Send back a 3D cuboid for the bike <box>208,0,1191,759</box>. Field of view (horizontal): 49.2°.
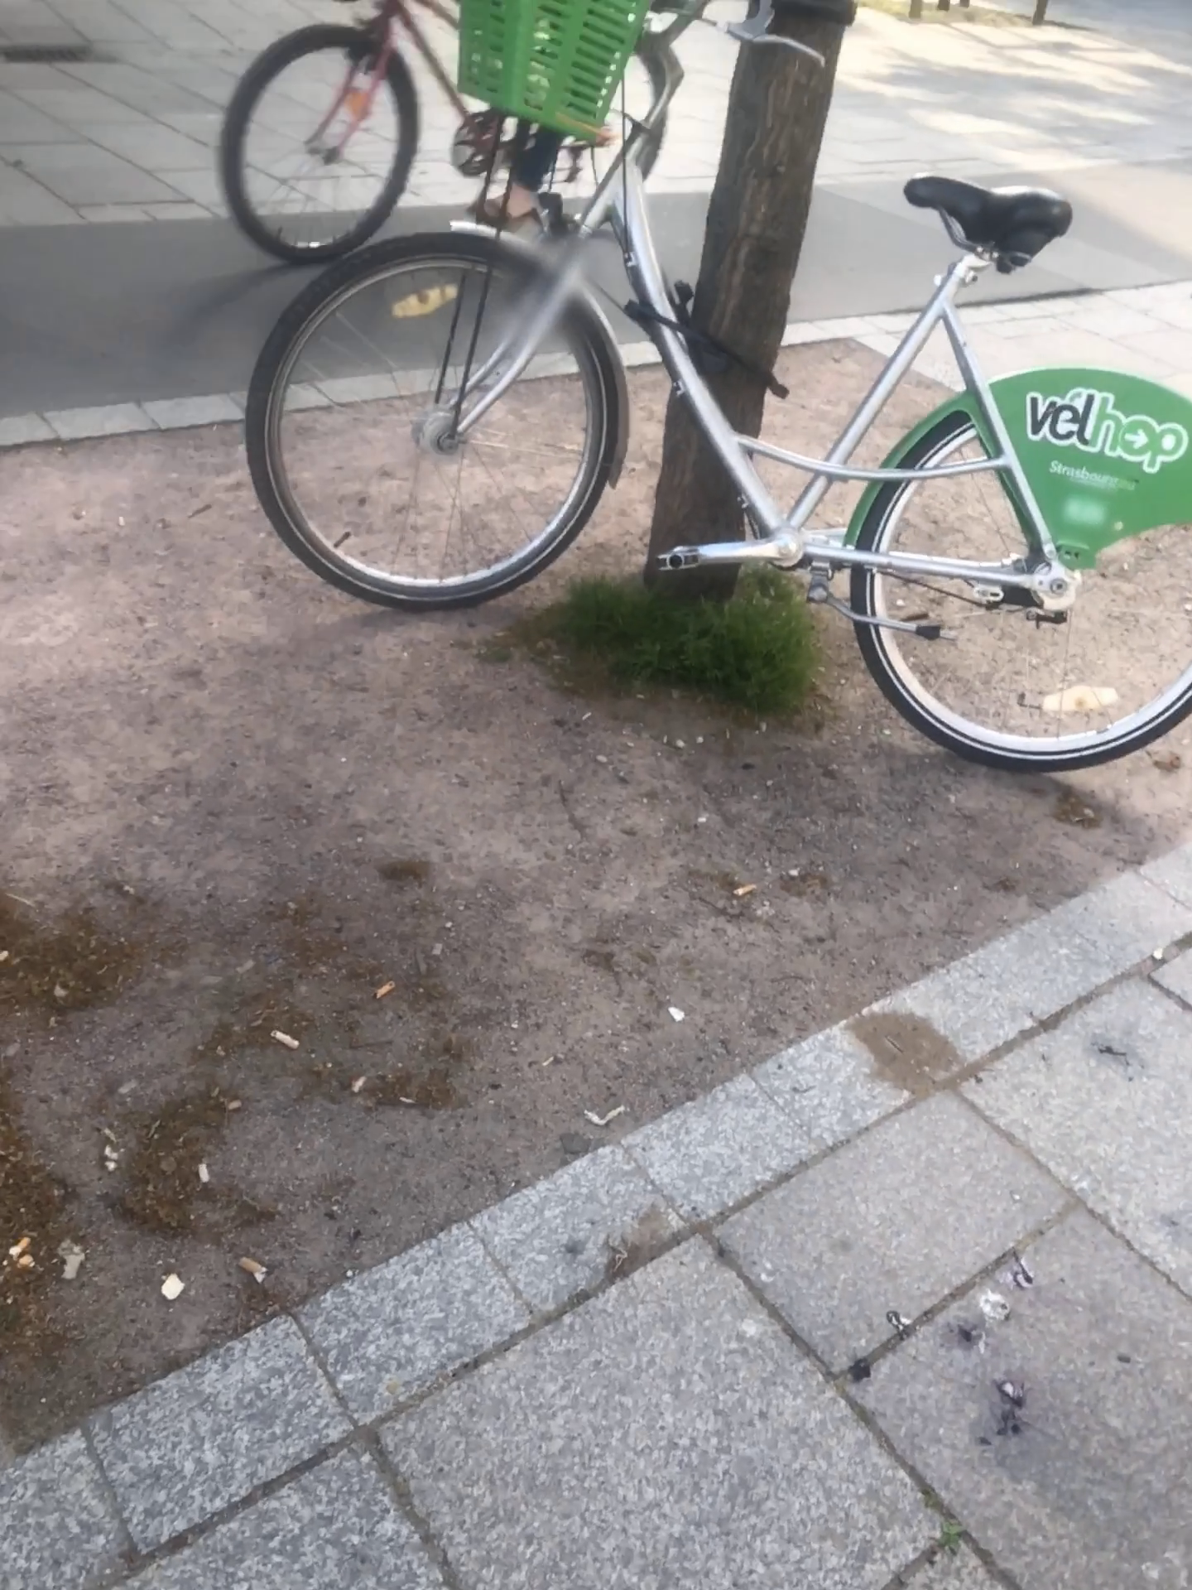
[{"bbox_3d":[0.324,-0.755,2.200,1.718,1.114,0.313,9,36,-3],"label":"bike"}]
